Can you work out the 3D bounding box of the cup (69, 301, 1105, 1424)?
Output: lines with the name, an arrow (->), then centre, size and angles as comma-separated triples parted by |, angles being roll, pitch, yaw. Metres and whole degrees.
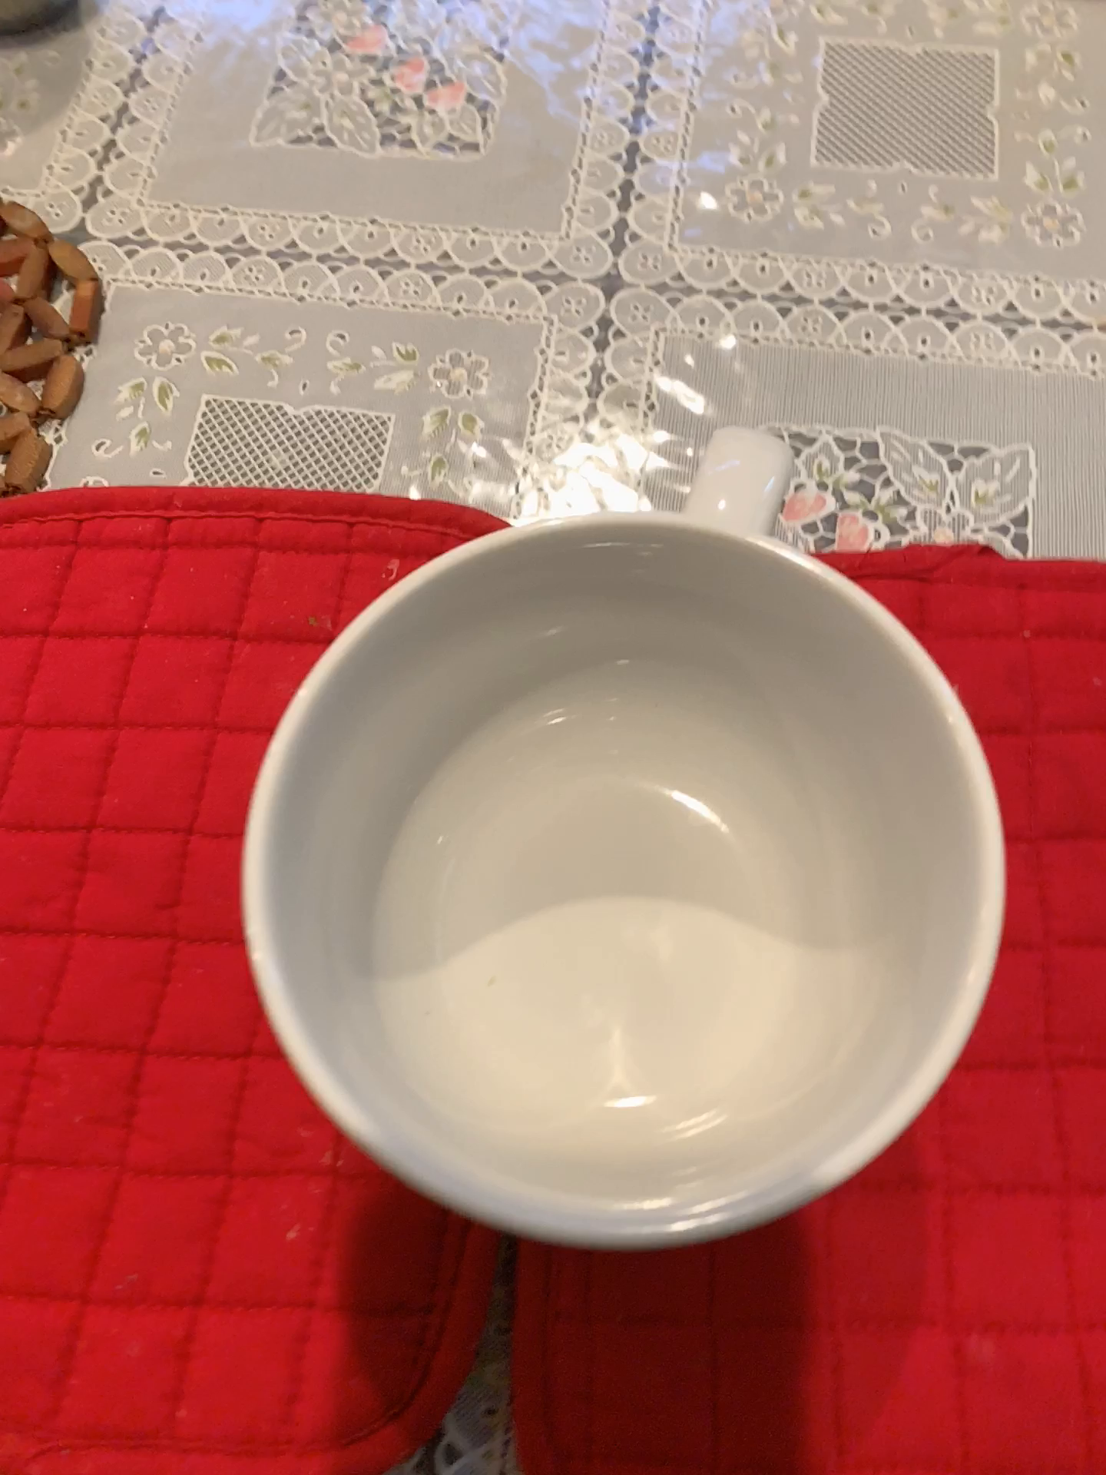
cup -> 0.014, 0.017, 0.206 | 0.120, 0.080, 0.141 | 16, 71, 8
